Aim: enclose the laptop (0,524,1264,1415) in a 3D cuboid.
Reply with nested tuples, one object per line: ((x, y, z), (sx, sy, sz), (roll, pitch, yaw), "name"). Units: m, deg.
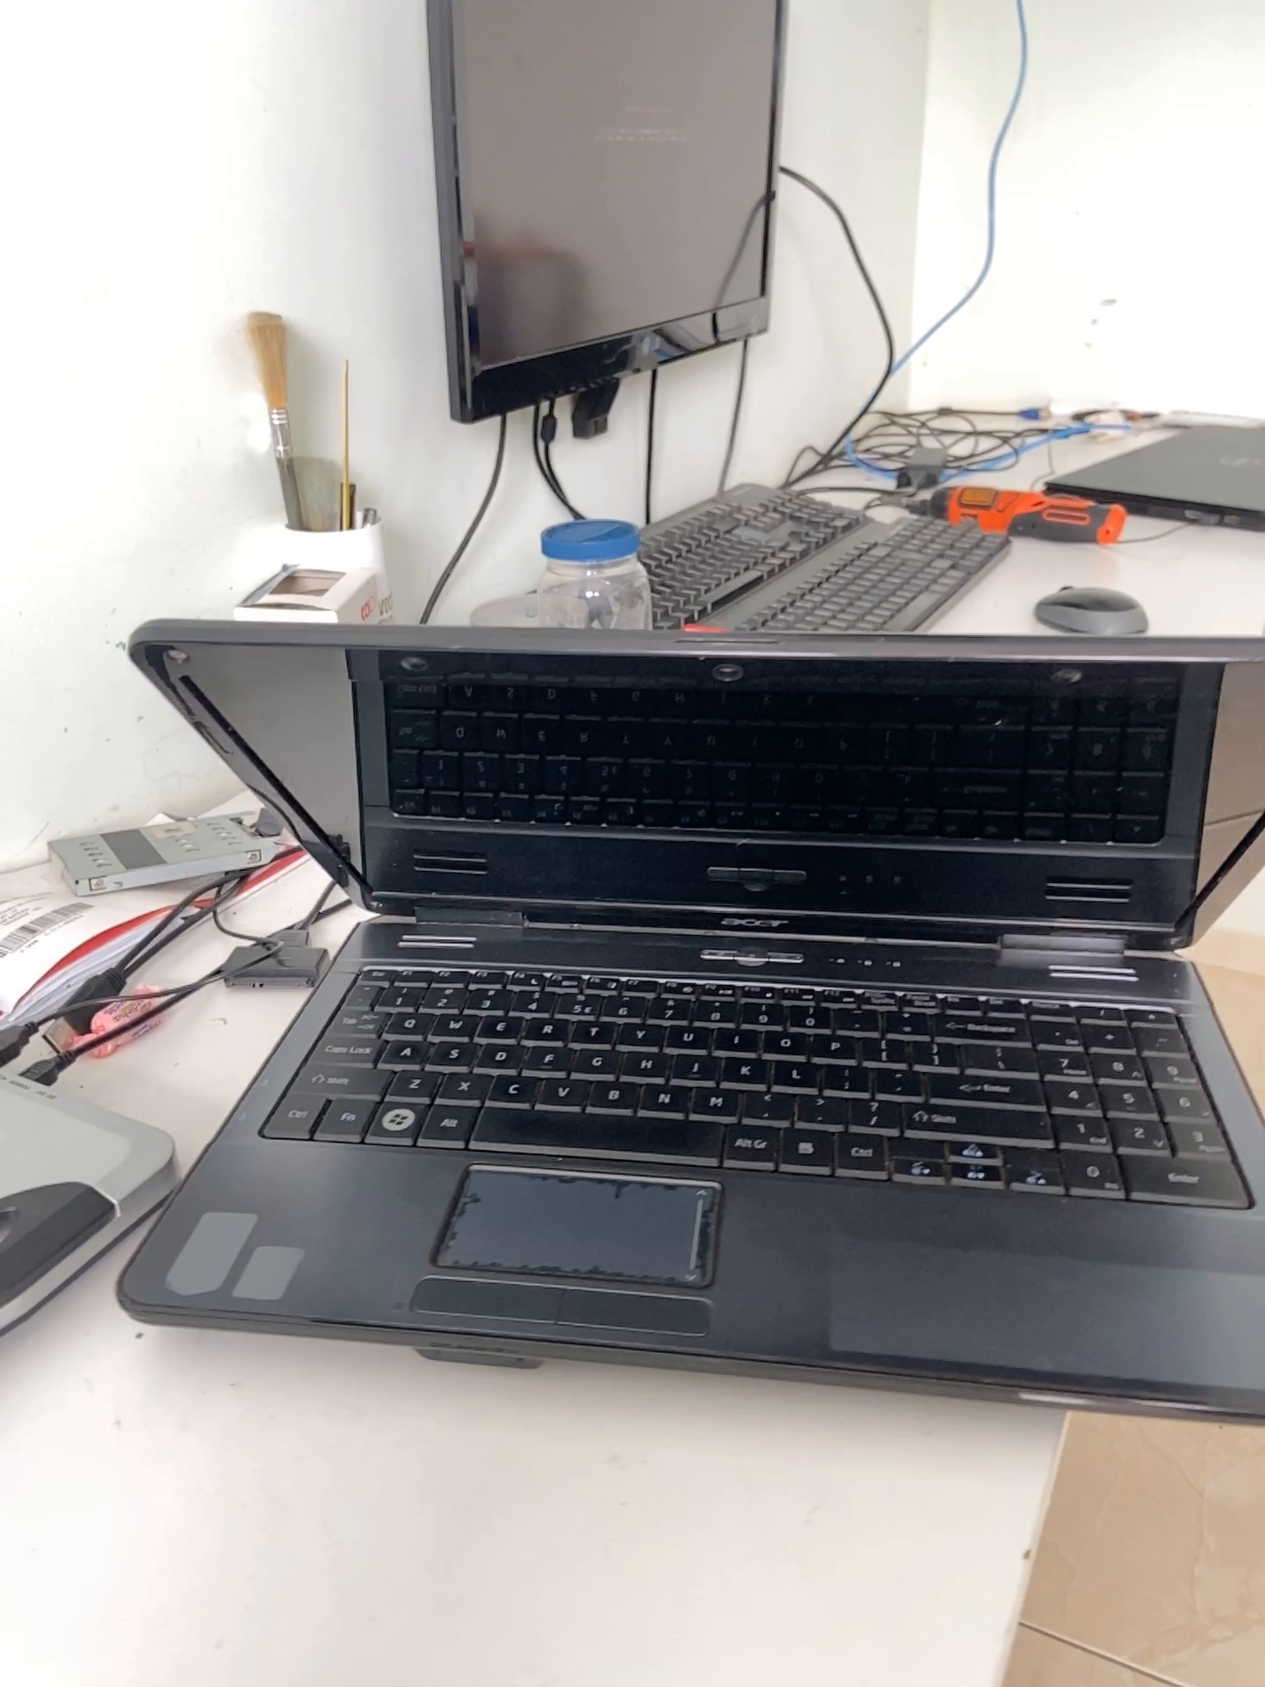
((0.035, 0.012, 0.440), (0.366, 0.183, 0.234), (2, 27, 8), "laptop")
